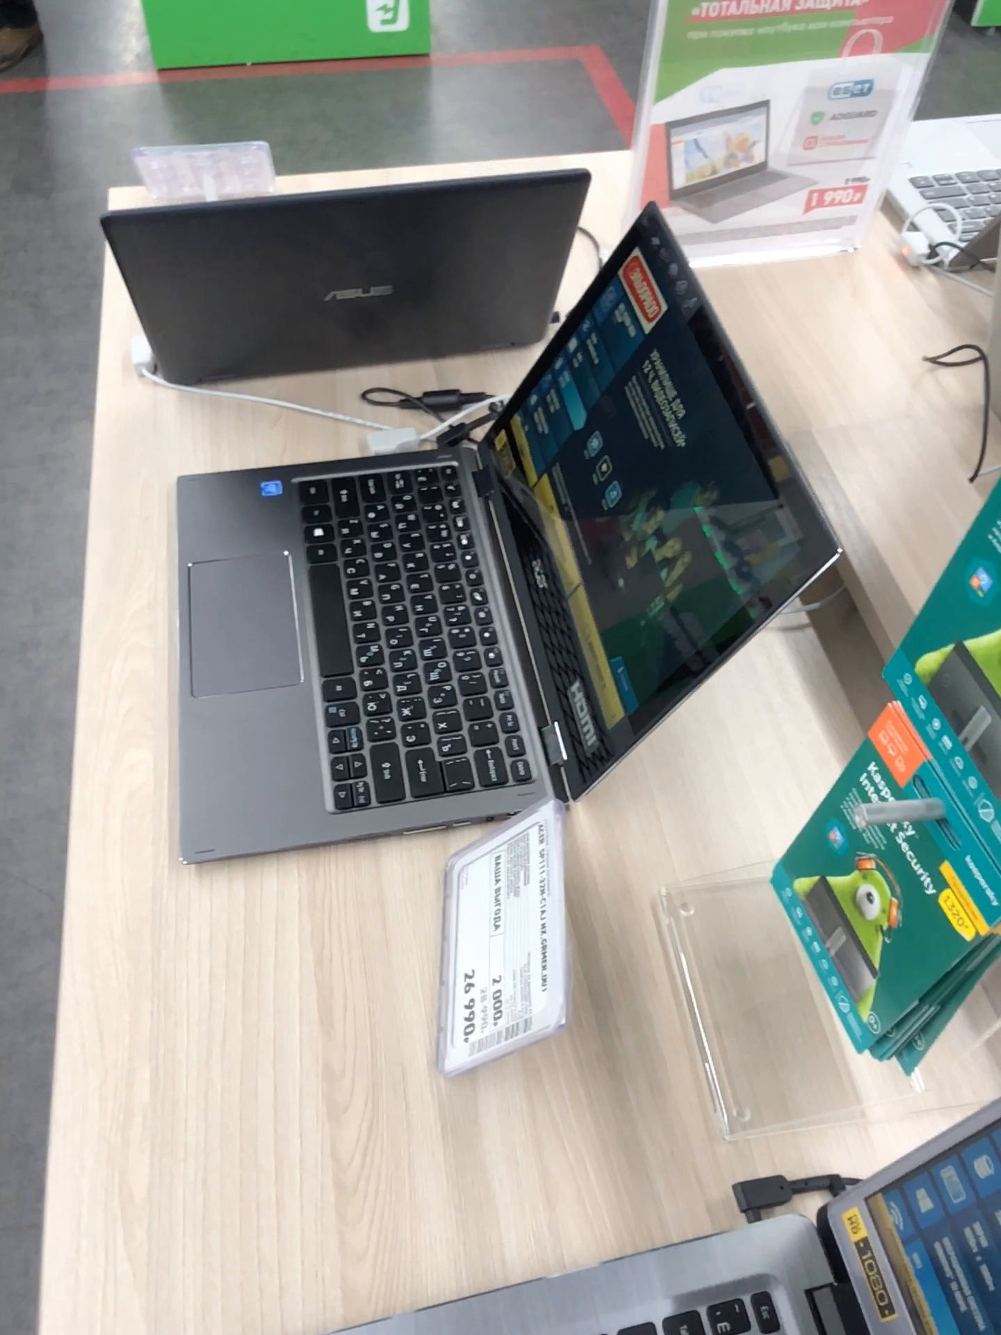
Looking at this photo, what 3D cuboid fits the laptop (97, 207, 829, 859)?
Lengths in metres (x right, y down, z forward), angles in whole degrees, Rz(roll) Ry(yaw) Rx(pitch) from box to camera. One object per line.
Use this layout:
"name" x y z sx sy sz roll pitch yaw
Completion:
"laptop" -0.037 -0.087 0.602 0.303 0.168 0.288 -8 52 -8

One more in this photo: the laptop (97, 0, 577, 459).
"laptop" -0.118 -0.327 0.786 0.275 0.174 0.288 -8 52 -8
